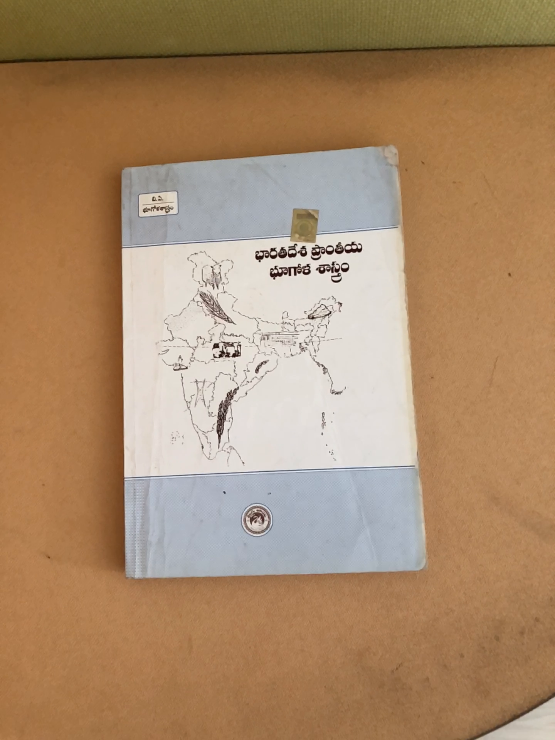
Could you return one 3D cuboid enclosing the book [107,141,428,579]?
[{"bbox_3d":[-0.011,-0.007,0.373,0.180,0.030,0.250,-3,82,5],"label":"book"}]
